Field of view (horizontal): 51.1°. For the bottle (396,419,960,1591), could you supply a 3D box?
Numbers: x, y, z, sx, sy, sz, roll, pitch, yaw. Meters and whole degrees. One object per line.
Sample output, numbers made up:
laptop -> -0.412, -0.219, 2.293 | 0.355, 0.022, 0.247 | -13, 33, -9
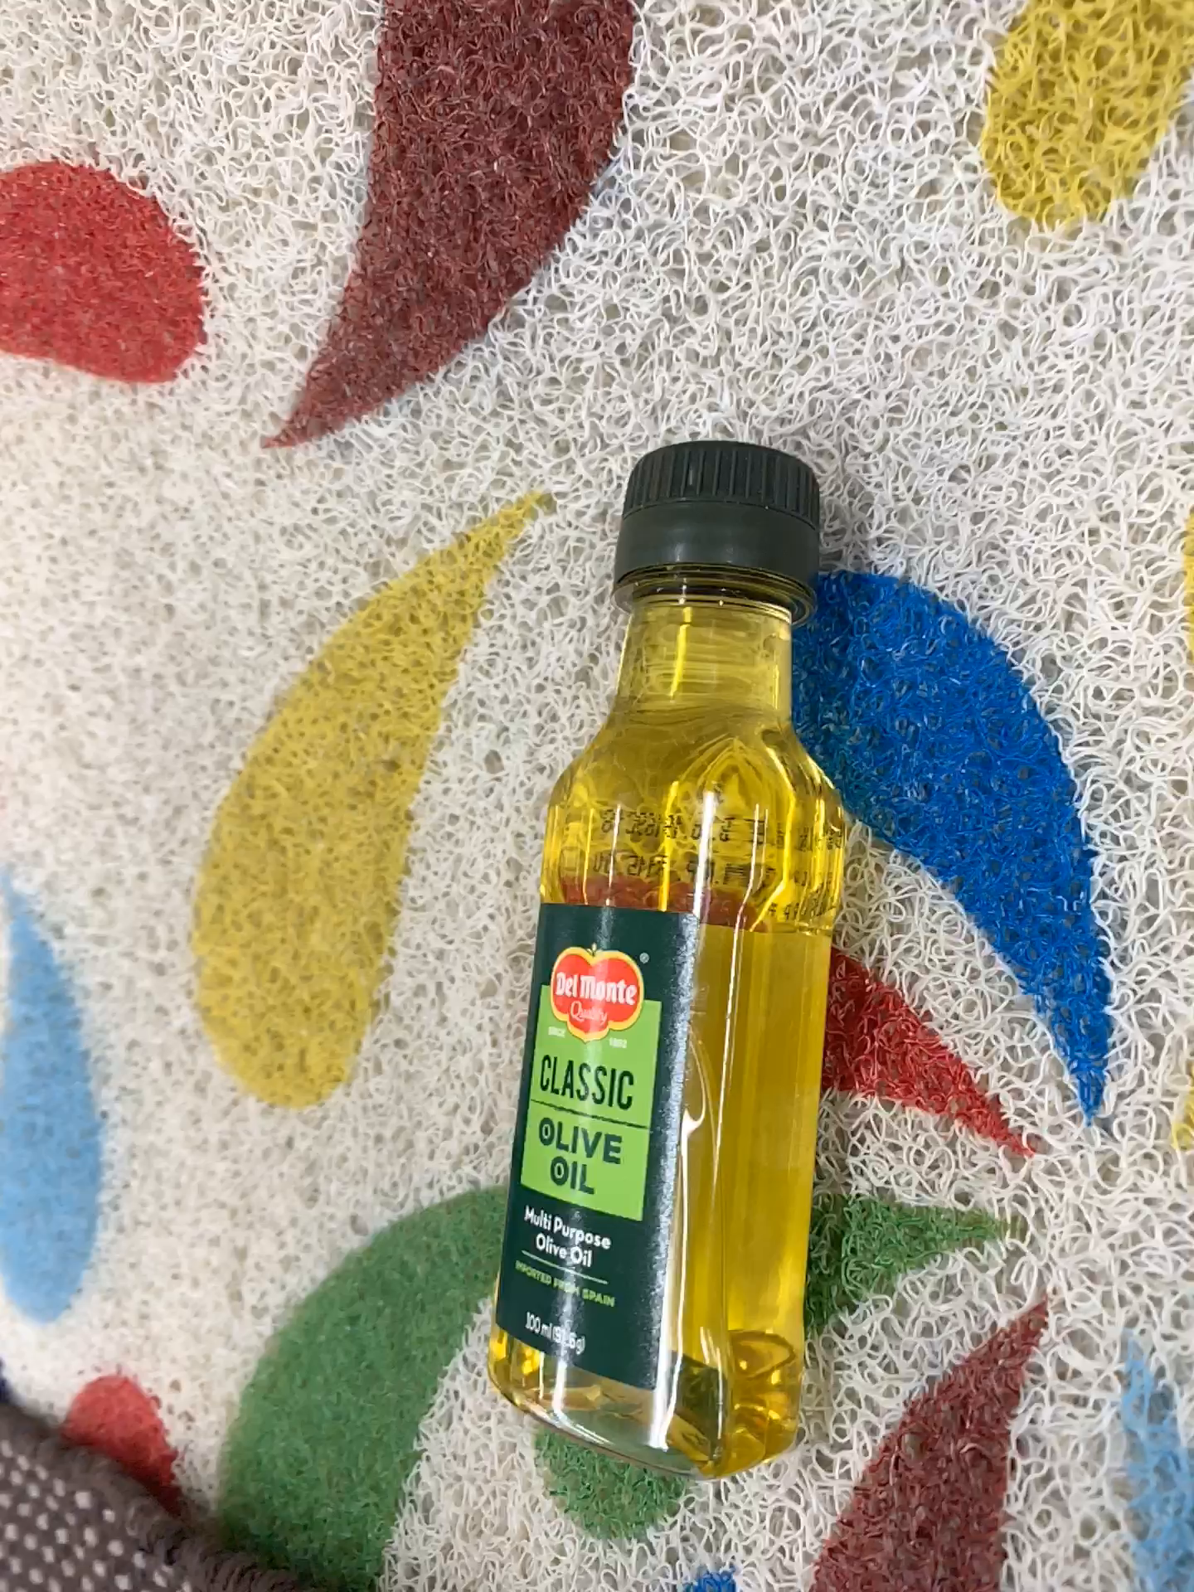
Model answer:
bottle -> 0.012, 0.024, 0.165 | 0.050, 0.040, 0.130 | 3, 87, 34
